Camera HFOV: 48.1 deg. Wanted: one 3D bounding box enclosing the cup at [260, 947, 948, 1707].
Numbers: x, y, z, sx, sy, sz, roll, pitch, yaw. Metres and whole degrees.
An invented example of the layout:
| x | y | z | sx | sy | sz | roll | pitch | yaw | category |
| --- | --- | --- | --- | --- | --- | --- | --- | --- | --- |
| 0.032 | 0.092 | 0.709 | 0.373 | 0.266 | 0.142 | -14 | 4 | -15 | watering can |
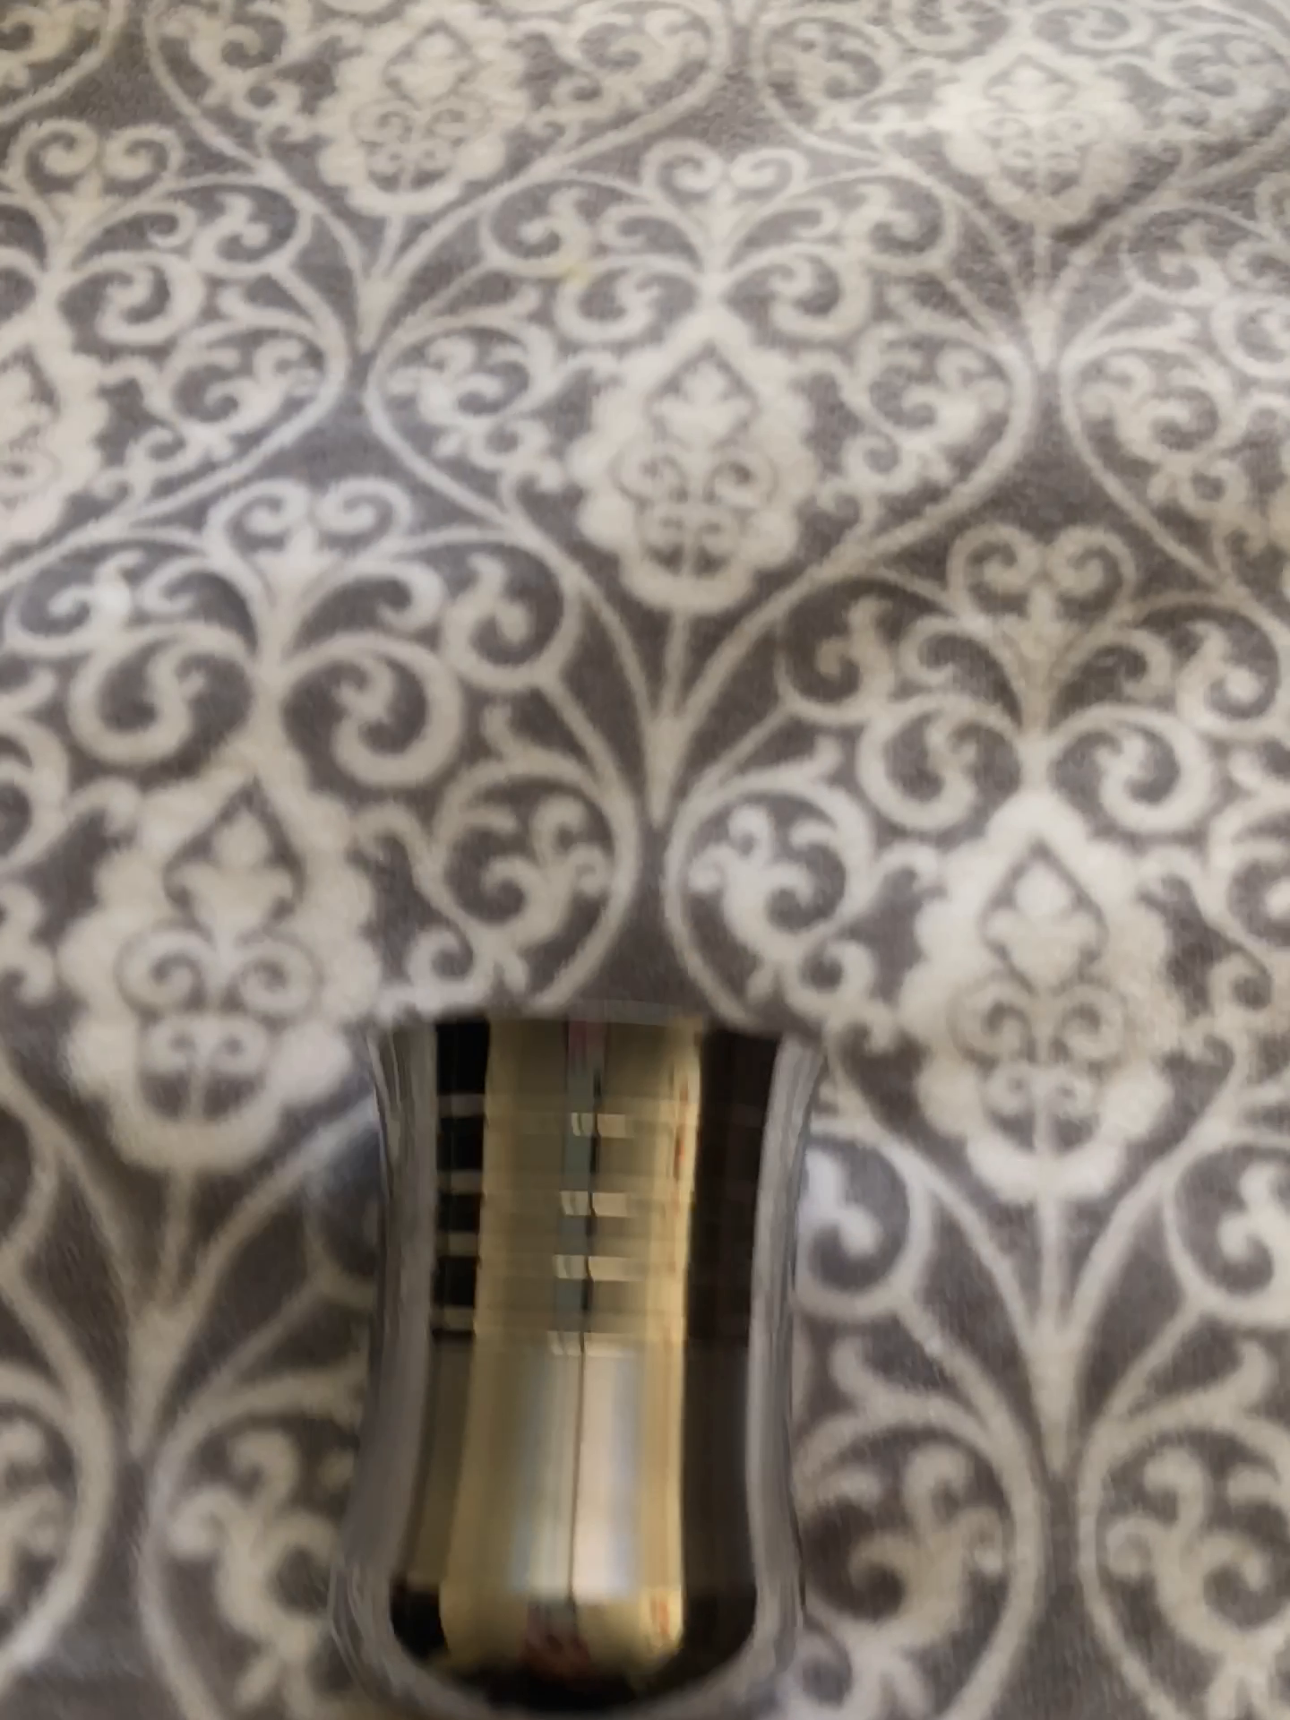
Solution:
| x | y | z | sx | sy | sz | roll | pitch | yaw | category |
| --- | --- | --- | --- | --- | --- | --- | --- | --- | --- |
| -0.004 | 0.067 | 0.210 | 0.077 | 0.066 | 0.087 | 4 | 66 | -2 | cup |
